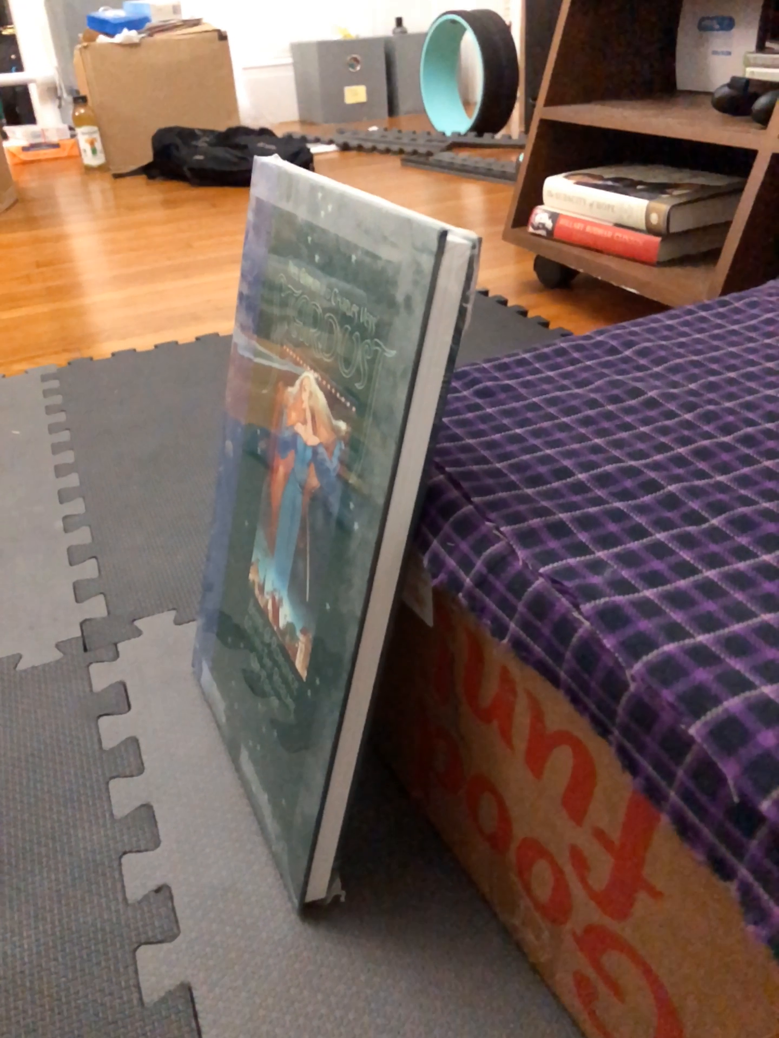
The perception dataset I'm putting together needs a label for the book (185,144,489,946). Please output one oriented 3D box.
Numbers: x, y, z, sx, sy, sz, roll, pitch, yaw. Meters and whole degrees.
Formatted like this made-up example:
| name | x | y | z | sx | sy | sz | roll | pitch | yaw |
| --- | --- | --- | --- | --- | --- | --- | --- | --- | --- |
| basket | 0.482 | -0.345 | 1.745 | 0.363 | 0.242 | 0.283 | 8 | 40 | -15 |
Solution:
| name | x | y | z | sx | sy | sz | roll | pitch | yaw |
| --- | --- | --- | --- | --- | --- | --- | --- | --- | --- |
| book | -0.051 | 0.002 | 0.421 | 0.020 | 0.328 | 0.211 | 0 | 25 | -27 |
